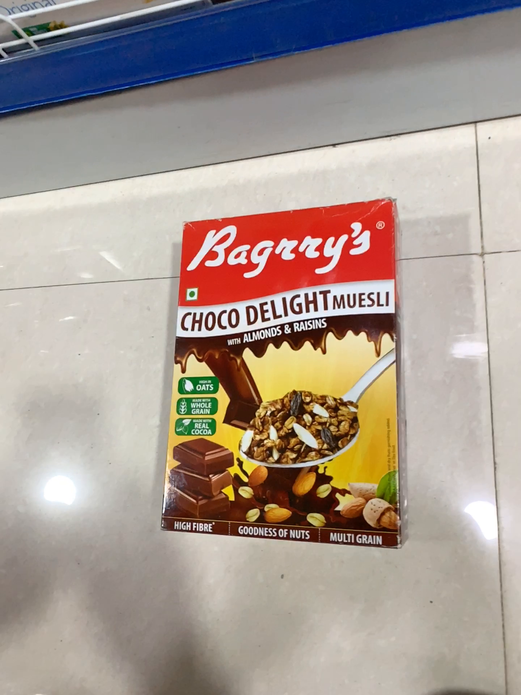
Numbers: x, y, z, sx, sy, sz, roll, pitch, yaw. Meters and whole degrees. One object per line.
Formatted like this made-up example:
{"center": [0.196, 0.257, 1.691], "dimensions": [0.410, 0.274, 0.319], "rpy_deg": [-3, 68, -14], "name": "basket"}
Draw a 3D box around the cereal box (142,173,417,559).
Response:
{"center": [0.022, 0.014, 0.447], "dimensions": [0.200, 0.080, 0.280], "rpy_deg": [-2, 76, 18], "name": "cereal box"}
